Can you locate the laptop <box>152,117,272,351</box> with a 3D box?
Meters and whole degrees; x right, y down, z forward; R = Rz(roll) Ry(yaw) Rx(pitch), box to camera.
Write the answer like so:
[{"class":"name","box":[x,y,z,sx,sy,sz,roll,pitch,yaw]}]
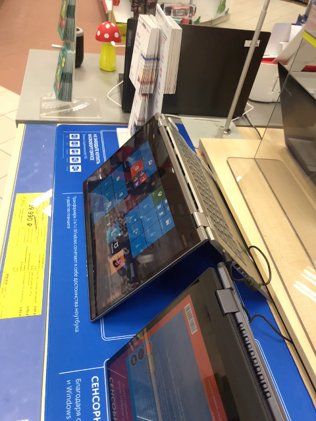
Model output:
[{"class":"laptop","box":[0.088,0.046,0.692,0.210,0.150,0.337,25,31,-30]}]
